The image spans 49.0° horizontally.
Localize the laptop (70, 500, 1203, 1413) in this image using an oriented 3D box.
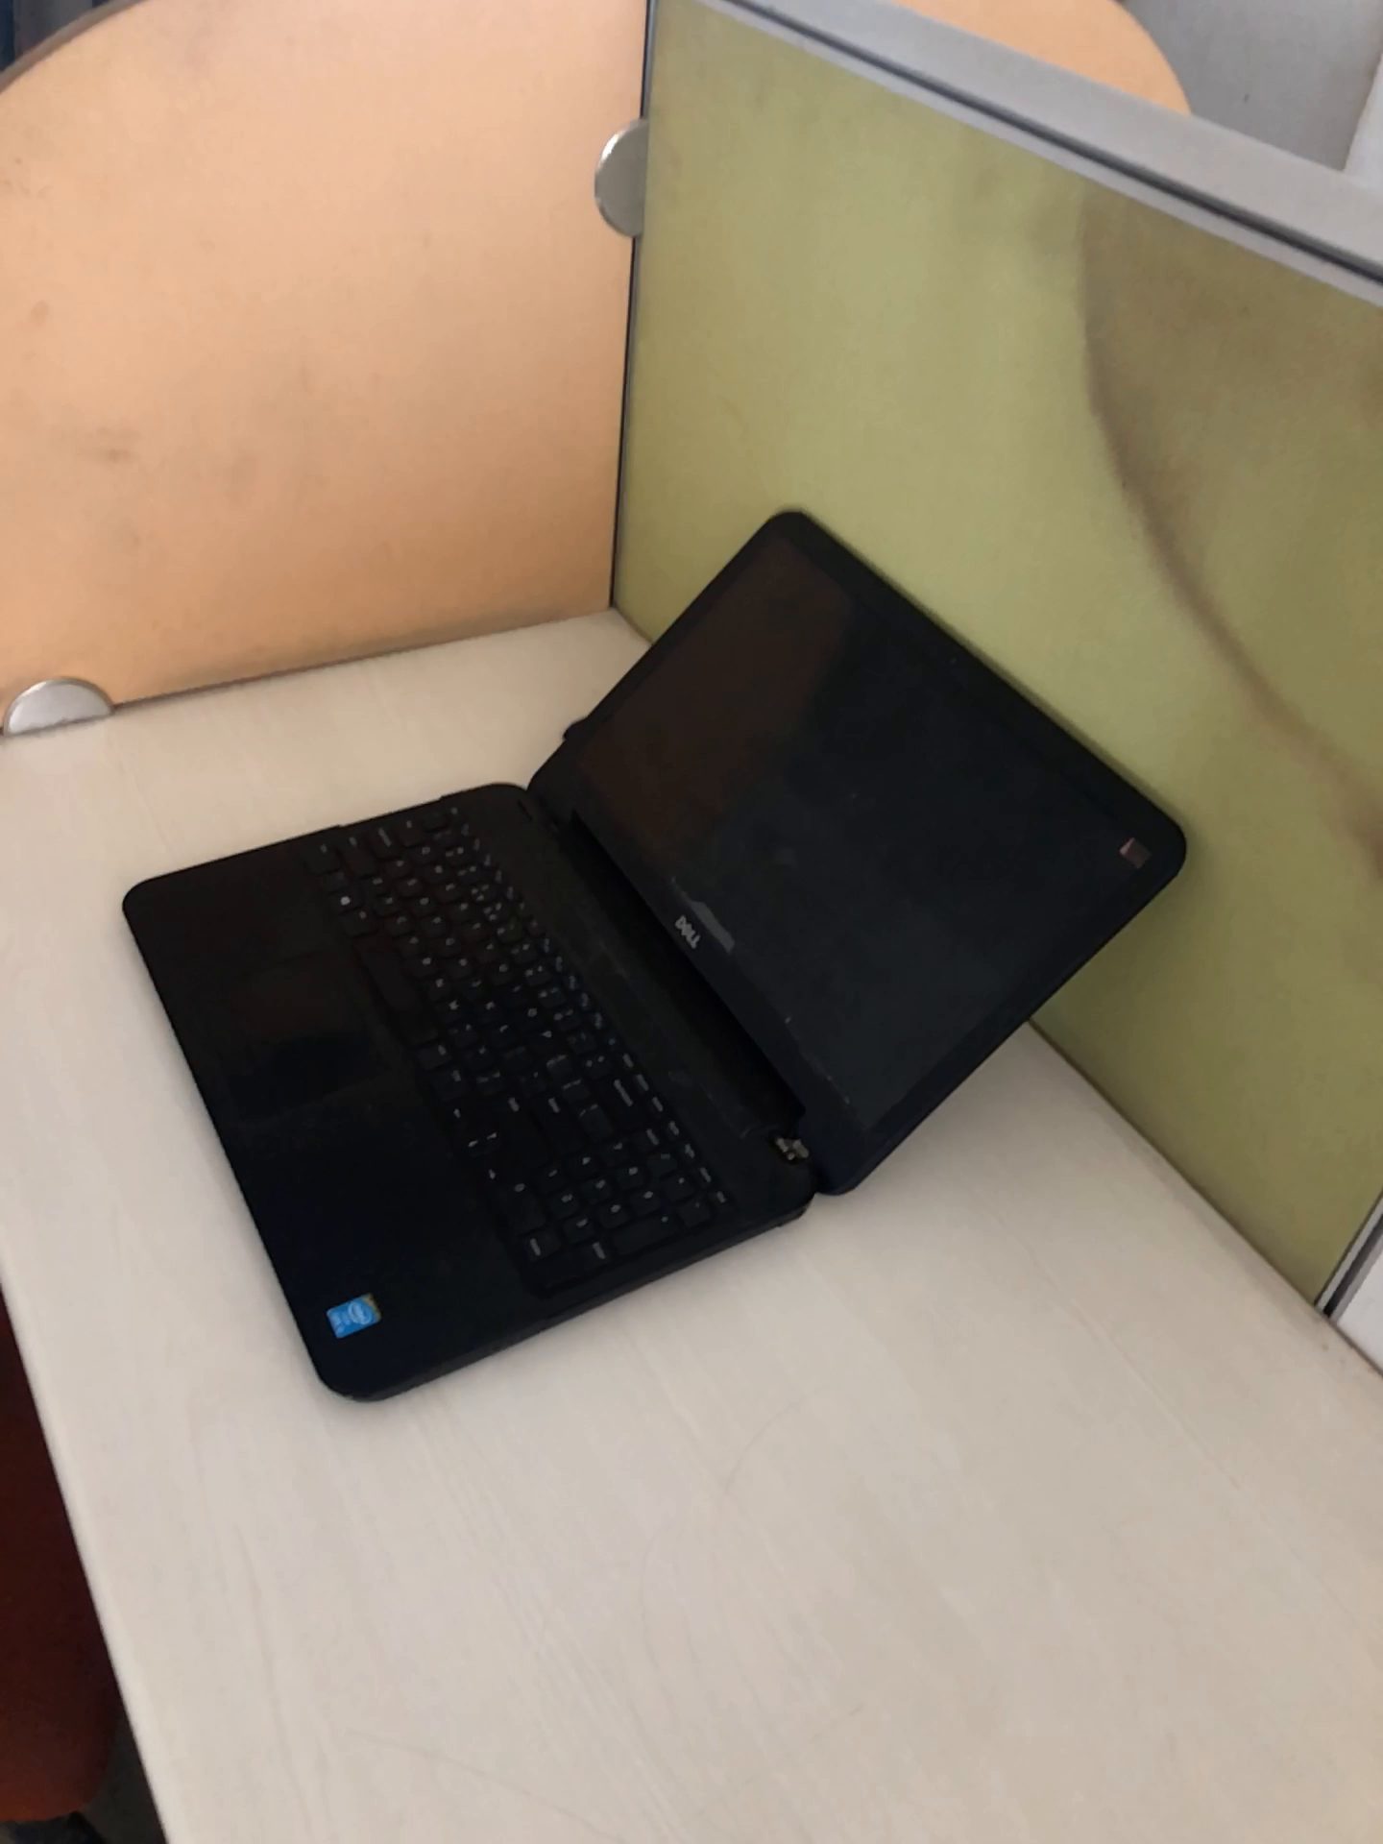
[{"bbox_3d":[-0.042,-0.026,0.782,0.427,0.158,0.357,-19,48,-24],"label":"laptop"}]
